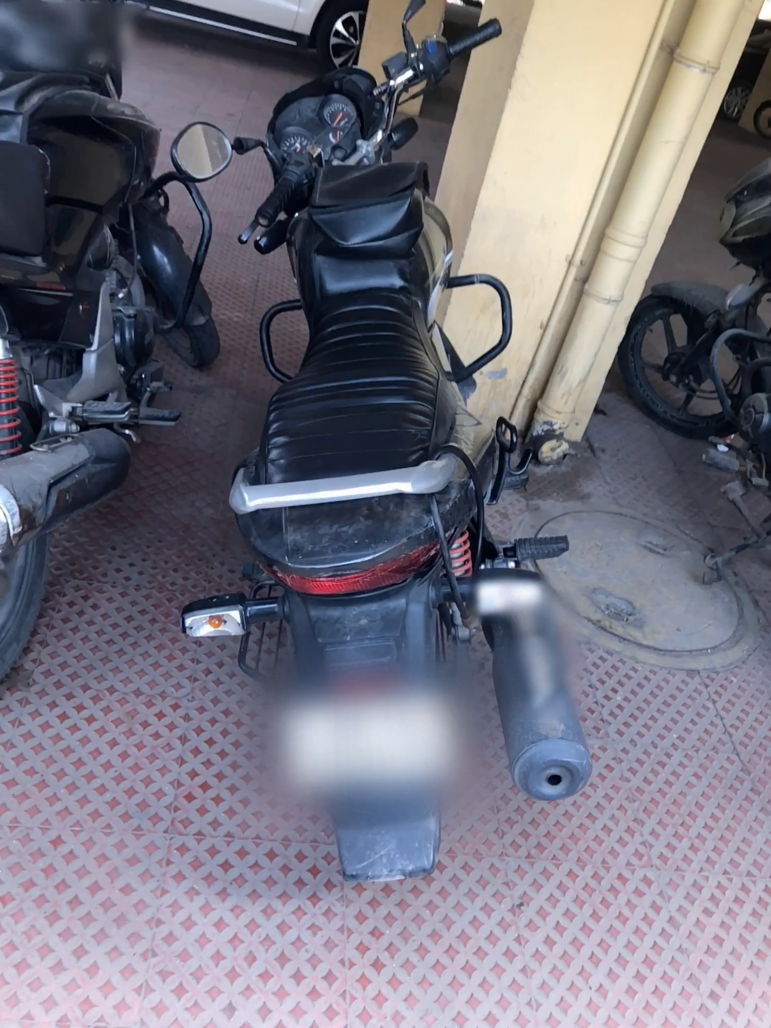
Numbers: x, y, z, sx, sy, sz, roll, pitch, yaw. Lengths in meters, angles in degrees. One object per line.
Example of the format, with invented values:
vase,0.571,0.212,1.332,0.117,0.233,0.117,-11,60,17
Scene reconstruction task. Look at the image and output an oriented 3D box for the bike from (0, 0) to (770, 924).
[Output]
bike,-0.181,-0.368,1.691,0.731,1.125,1.769,6,35,-14
